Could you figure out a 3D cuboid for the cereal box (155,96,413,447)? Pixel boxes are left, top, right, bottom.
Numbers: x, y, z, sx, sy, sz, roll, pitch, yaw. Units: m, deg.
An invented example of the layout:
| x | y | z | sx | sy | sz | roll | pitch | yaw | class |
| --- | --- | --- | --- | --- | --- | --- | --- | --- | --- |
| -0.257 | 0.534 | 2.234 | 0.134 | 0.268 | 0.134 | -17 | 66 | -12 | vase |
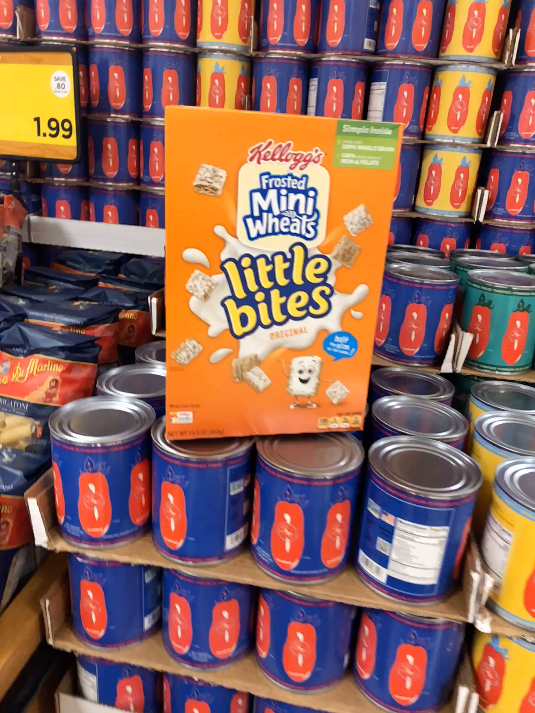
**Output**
| x | y | z | sx | sy | sz | roll | pitch | yaw | class |
| --- | --- | --- | --- | --- | --- | --- | --- | --- | --- |
| 0.003 | -0.066 | 0.526 | 0.200 | 0.288 | 0.060 | -1 | 21 | -13 | cereal box |
